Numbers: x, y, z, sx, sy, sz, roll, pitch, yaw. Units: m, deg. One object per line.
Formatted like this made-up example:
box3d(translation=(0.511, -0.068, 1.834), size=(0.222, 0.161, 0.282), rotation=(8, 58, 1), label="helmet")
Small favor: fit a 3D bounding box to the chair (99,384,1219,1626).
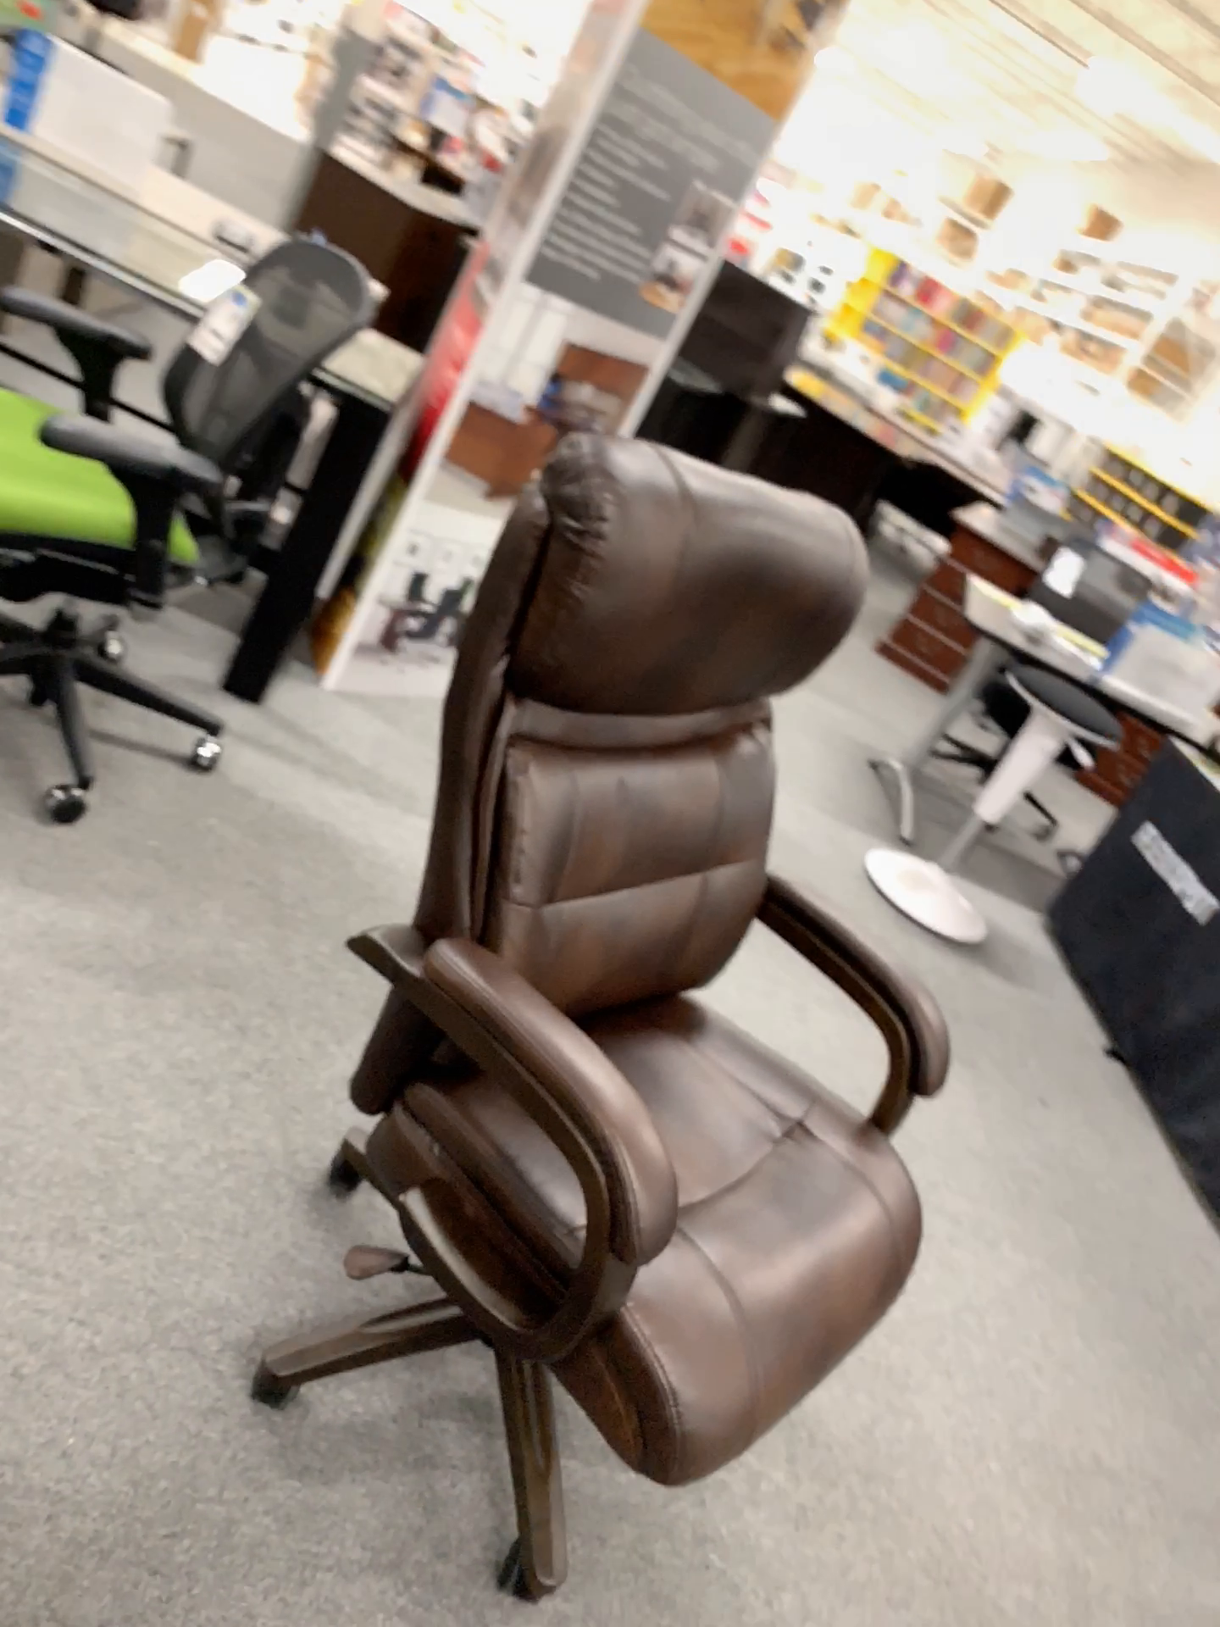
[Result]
box3d(translation=(0.083, 0.244, 1.472), size=(0.701, 1.095, 0.753), rotation=(43, 27, 25), label="chair")
